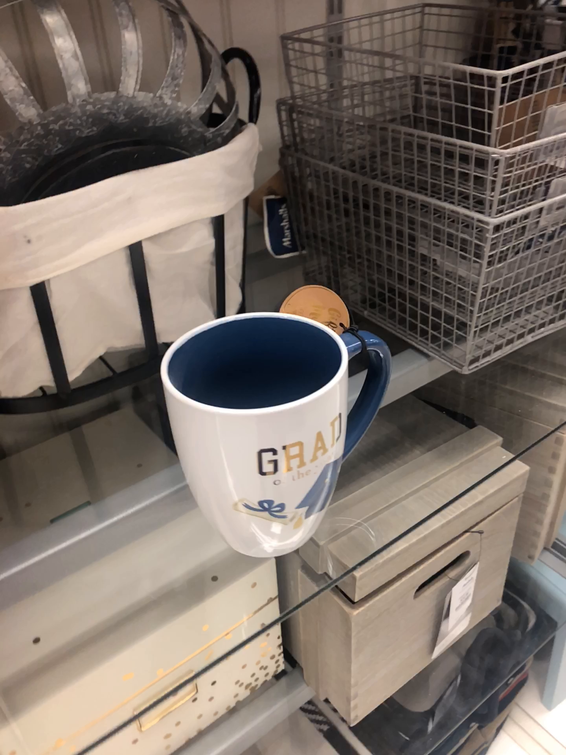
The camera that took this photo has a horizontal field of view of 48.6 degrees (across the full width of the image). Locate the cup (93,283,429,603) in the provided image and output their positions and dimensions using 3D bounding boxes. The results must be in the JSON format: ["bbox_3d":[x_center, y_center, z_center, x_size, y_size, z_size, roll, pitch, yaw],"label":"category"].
[{"bbox_3d":[-0.012,0.027,0.377,0.150,0.096,0.116,-23,38,-27],"label":"cup"}]
